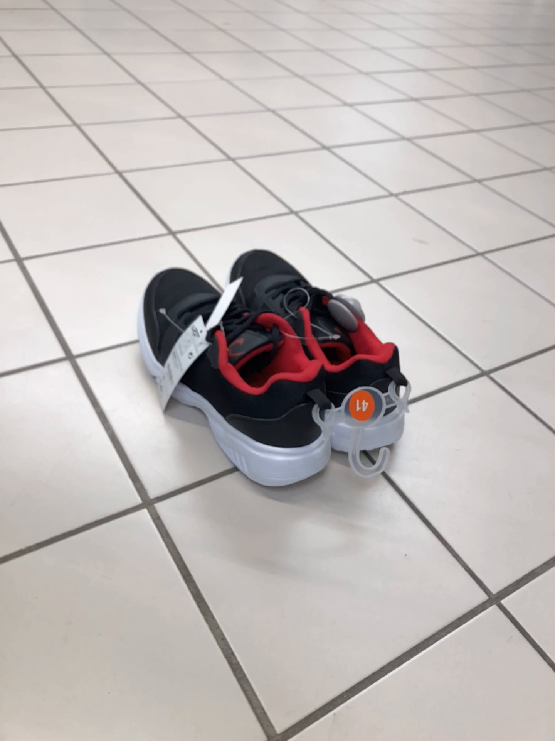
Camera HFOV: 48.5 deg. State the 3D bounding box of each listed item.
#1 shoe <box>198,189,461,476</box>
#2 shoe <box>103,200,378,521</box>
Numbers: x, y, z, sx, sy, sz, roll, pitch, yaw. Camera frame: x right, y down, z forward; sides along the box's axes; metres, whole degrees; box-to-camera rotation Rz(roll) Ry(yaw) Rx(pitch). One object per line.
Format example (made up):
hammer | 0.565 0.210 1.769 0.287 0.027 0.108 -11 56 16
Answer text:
shoe | 0.030 -0.054 0.617 0.100 0.129 0.285 -16 46 -27
shoe | -0.054 -0.027 0.574 0.100 0.129 0.295 -19 47 -29
